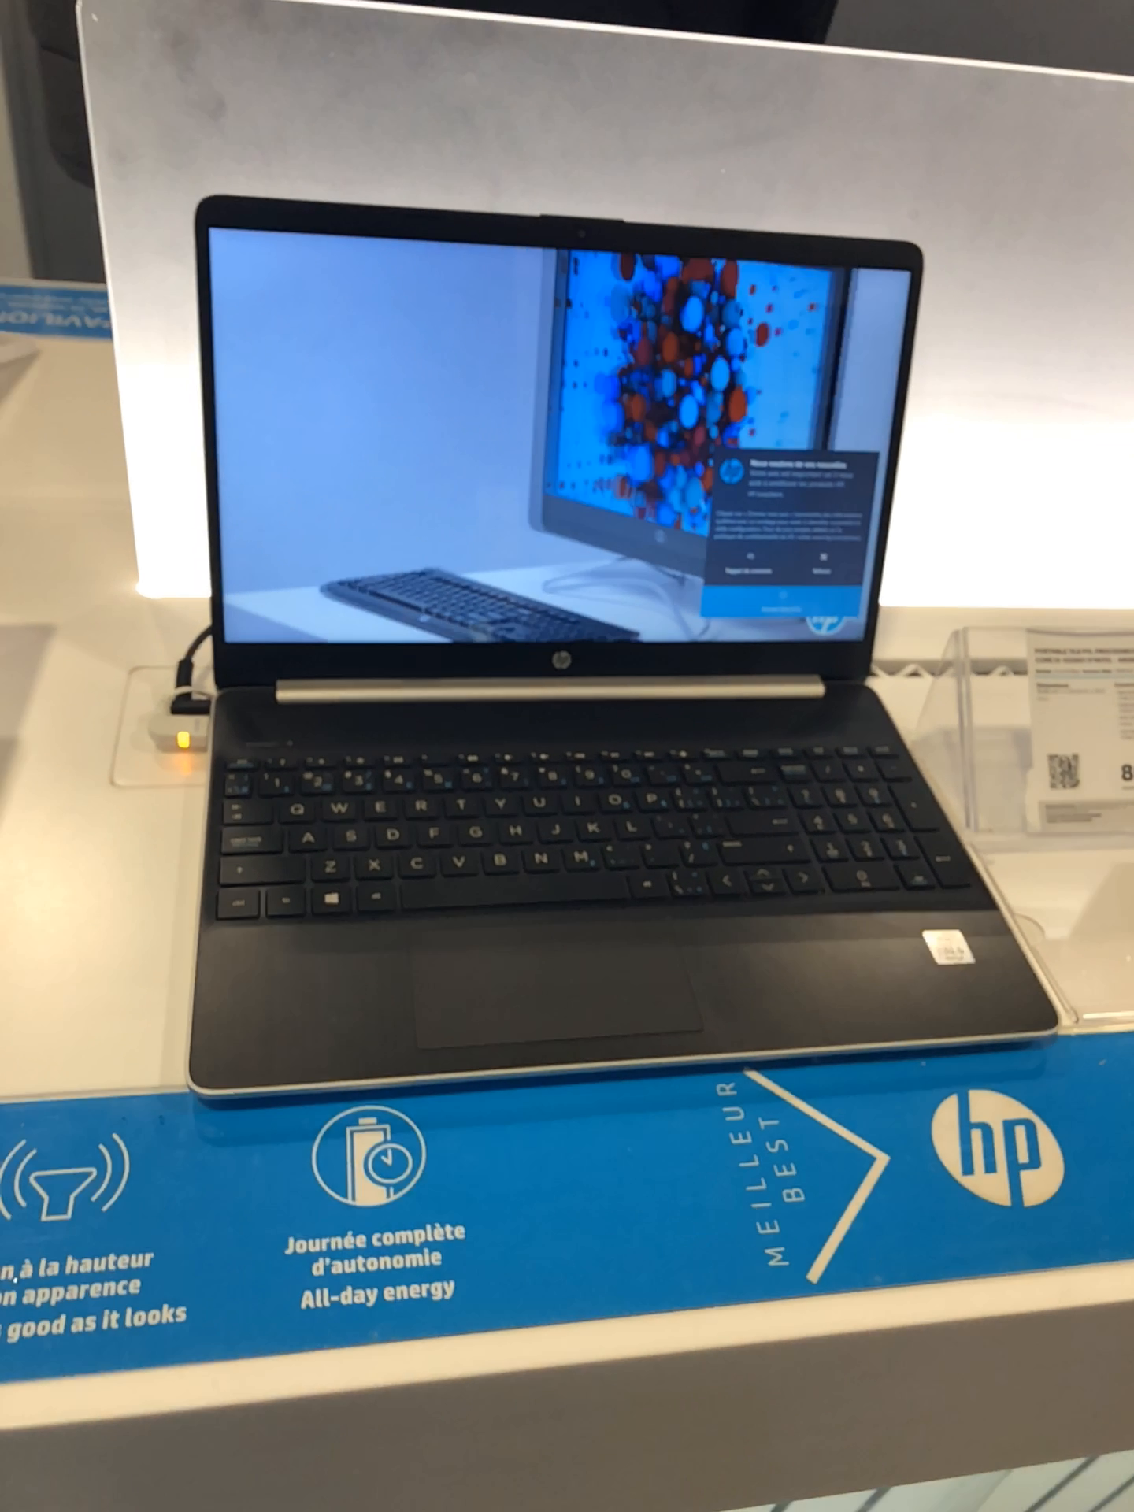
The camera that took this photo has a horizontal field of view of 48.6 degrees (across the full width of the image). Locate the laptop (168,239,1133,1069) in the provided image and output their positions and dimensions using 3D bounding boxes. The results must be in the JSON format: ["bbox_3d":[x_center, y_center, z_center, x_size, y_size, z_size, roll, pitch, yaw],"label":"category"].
[{"bbox_3d":[0.027,-0.063,0.542,0.336,0.206,0.317,-1,38,-11],"label":"laptop"}]
